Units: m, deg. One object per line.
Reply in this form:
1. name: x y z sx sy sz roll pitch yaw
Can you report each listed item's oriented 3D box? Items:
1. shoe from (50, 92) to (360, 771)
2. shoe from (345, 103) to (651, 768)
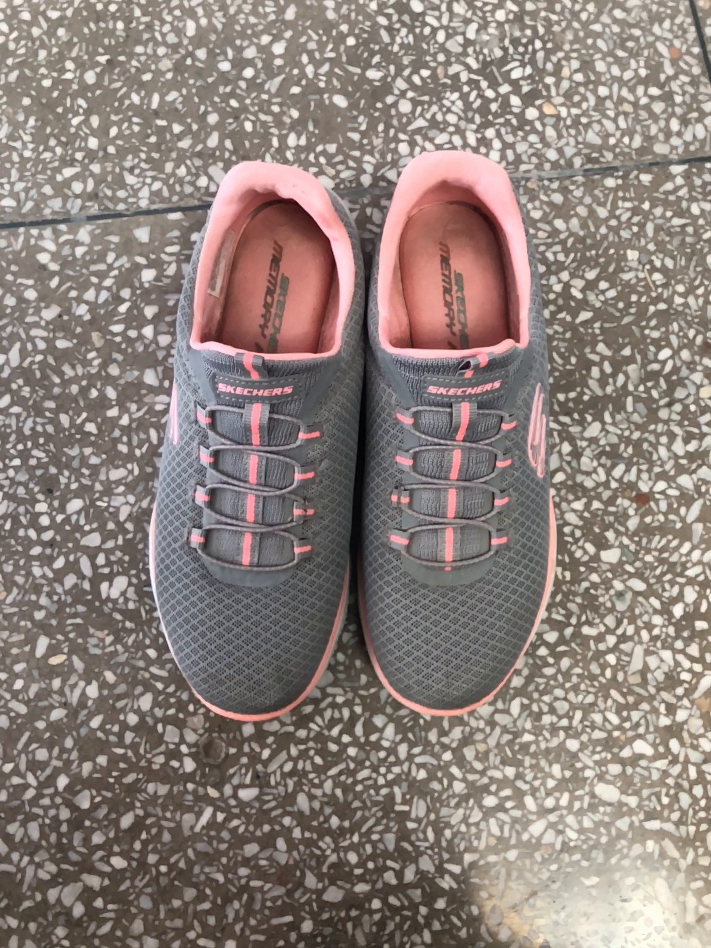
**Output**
1. shoe: -0.051 -0.016 0.336 0.097 0.095 0.252 2 79 -1
2. shoe: 0.050 -0.013 0.342 0.102 0.108 0.246 2 79 -1
